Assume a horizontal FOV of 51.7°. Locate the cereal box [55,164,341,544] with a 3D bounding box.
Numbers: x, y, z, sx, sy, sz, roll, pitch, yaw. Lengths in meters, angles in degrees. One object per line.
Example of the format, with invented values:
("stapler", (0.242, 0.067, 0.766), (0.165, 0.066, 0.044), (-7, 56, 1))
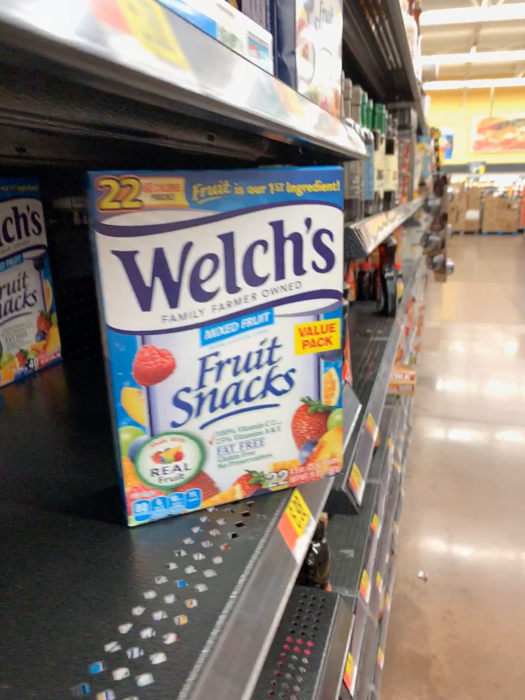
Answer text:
("cereal box", (-0.036, -0.004, 0.377), (0.170, 0.229, 0.060), (-9, 17, -21))
